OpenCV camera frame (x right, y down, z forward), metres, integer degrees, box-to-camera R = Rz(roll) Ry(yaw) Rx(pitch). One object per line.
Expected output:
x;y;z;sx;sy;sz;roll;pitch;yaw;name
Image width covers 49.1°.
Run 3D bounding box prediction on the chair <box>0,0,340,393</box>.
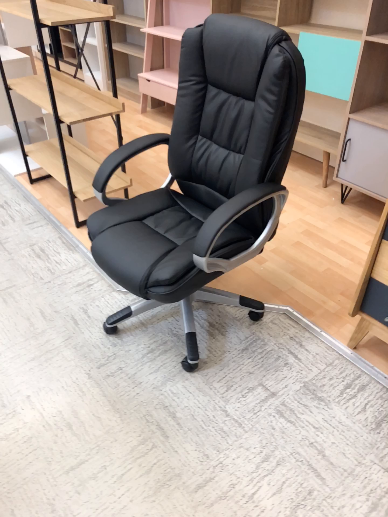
-0.114;-0.297;1.480;0.761;1.064;0.683;30;44;35;chair
